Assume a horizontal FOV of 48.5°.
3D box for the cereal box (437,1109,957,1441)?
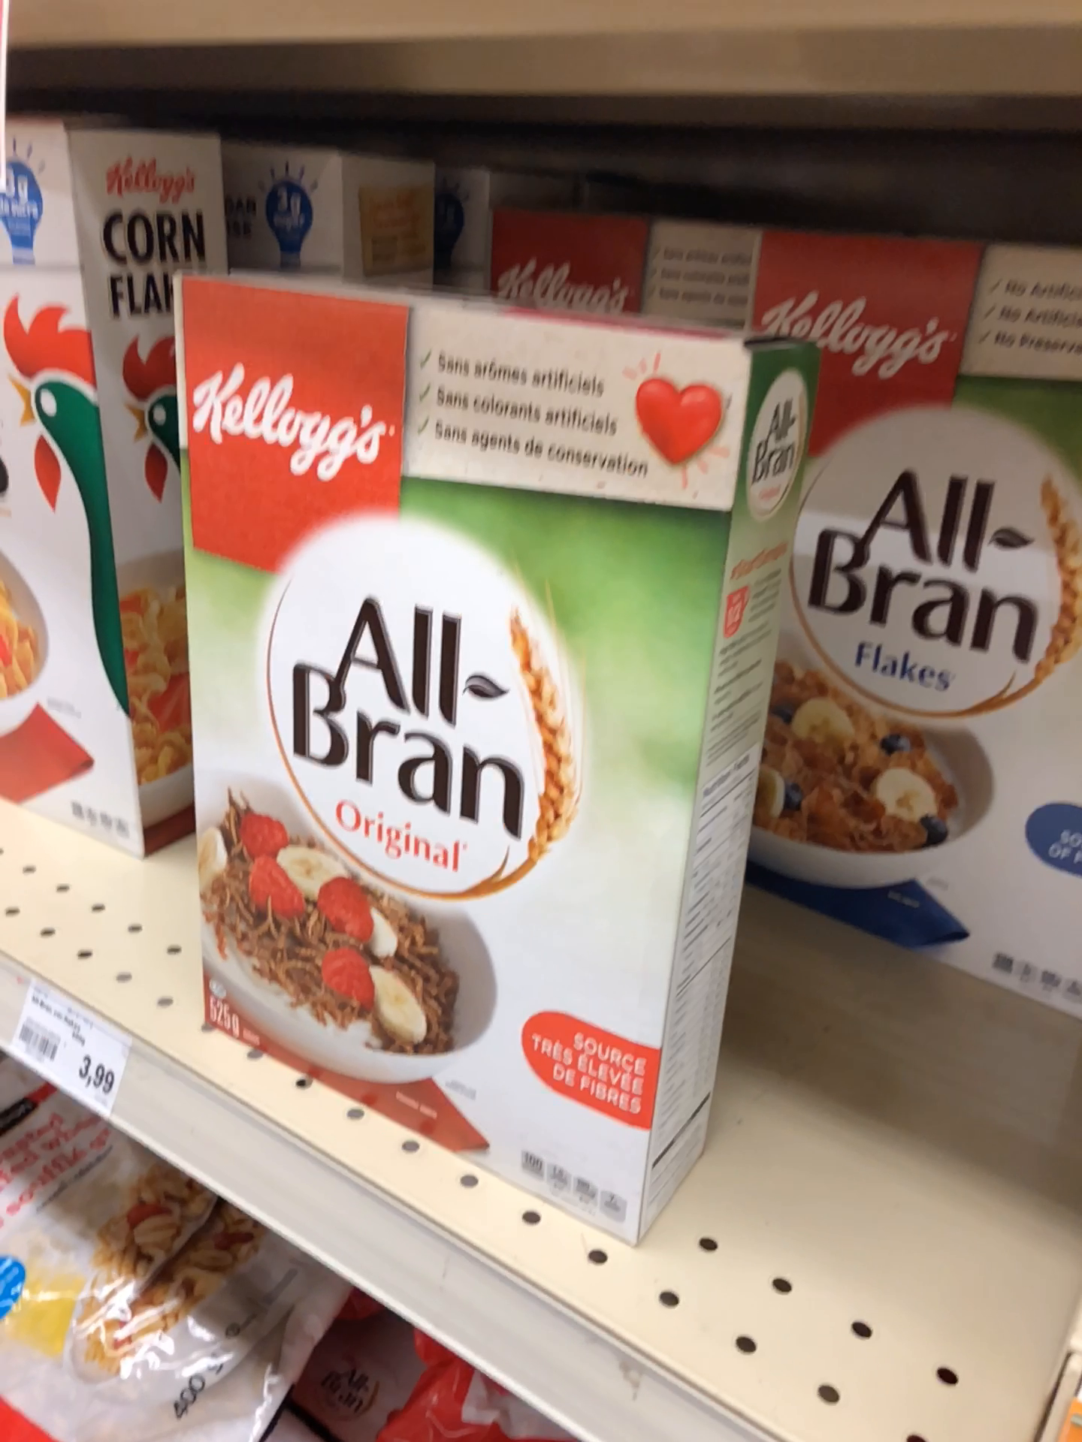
[{"bbox_3d":[0.055,0.338,0.533,0.190,0.278,0.070,15,26,25],"label":"cereal box"}]
